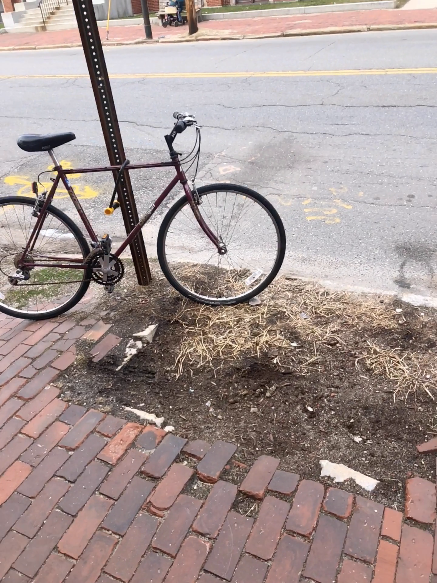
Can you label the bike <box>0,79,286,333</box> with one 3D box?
[{"bbox_3d":[-0.511,-0.448,2.533,1.680,0.962,0.558,-7,32,1],"label":"bike"}]
